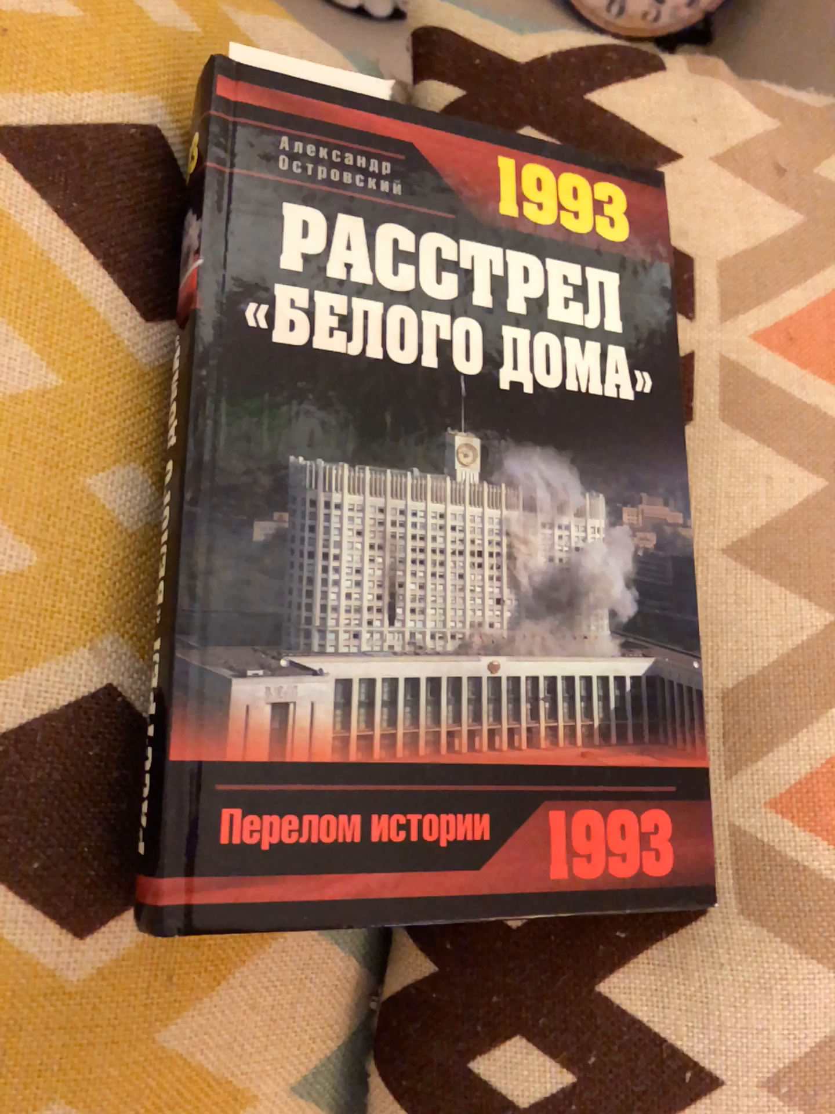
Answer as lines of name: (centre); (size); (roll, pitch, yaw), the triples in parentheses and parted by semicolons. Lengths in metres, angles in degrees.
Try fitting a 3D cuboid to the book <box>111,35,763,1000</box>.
book: (0.009, -0.012, 0.228); (0.140, 0.030, 0.210); (6, 75, -17)
